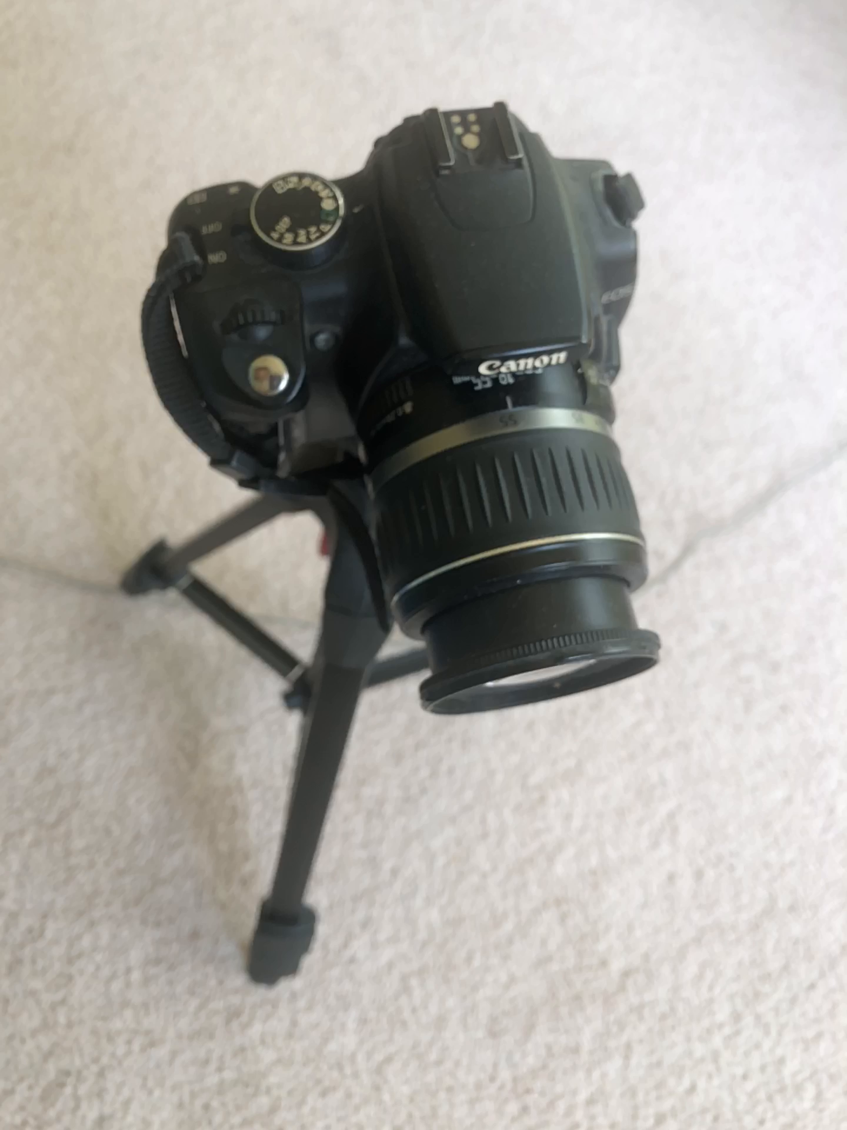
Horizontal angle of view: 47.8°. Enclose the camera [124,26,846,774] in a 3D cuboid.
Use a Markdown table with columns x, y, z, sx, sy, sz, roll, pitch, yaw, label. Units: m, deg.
| x | y | z | sx | sy | sz | roll | pitch | yaw | label |
| --- | --- | --- | --- | --- | --- | --- | --- | --- | --- |
| 0.010 | -0.036 | 0.245 | 0.130 | 0.093 | 0.142 | -12 | 75 | -9 | camera |
